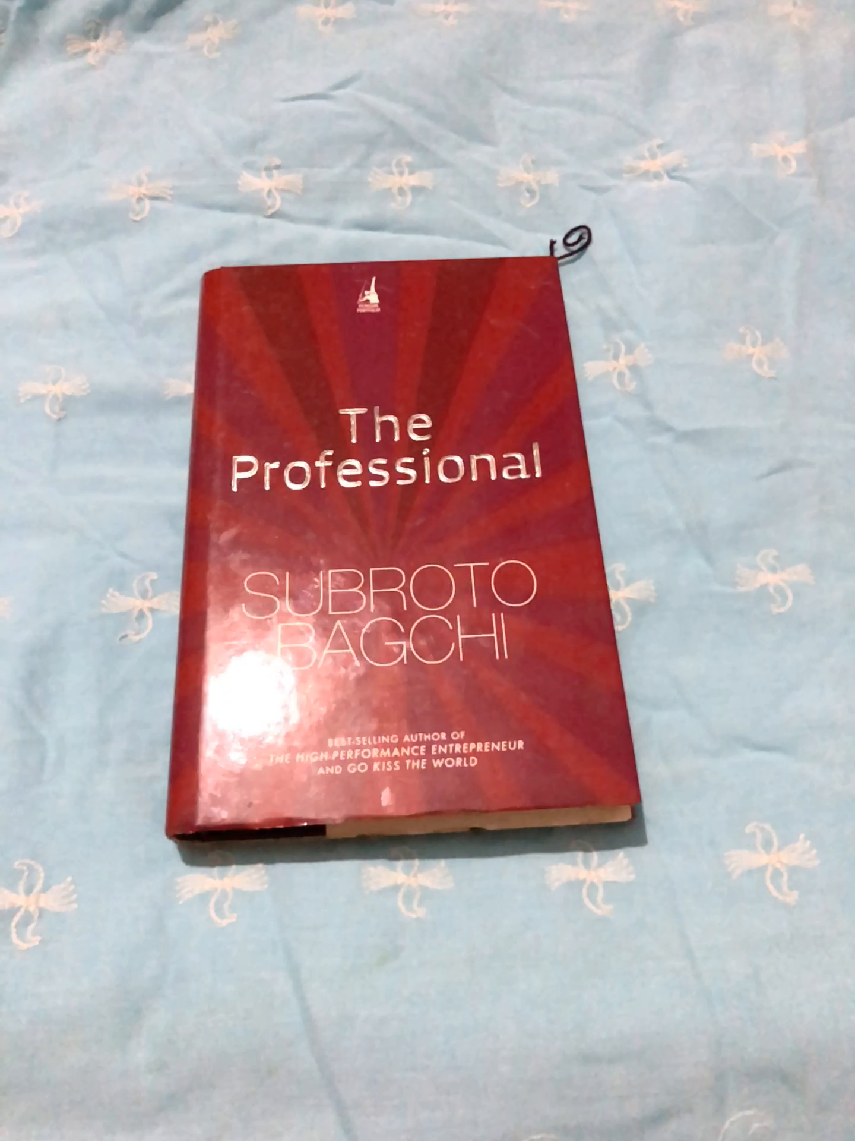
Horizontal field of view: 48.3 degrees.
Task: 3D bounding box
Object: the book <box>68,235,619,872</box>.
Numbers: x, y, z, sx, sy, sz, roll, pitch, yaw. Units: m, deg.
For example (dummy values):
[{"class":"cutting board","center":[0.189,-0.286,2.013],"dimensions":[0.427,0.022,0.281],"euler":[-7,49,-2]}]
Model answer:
[{"class":"book","center":[-0.026,-0.018,0.321],"dimensions":[0.150,0.030,0.220],"euler":[-1,65,-2]}]
